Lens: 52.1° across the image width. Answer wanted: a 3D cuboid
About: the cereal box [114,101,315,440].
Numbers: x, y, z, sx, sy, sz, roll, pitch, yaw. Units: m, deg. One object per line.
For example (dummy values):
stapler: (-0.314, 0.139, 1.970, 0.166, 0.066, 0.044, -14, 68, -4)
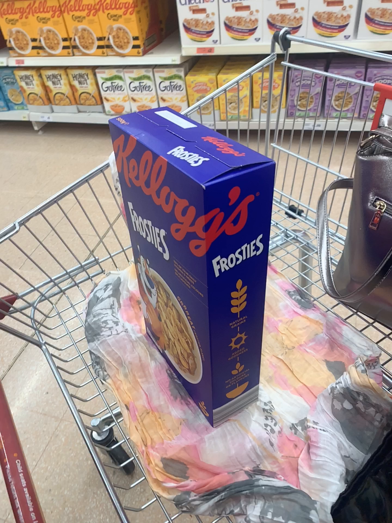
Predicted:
cereal box: (0.005, 0.018, 0.475, 0.080, 0.337, 0.212, -22, 43, -25)
